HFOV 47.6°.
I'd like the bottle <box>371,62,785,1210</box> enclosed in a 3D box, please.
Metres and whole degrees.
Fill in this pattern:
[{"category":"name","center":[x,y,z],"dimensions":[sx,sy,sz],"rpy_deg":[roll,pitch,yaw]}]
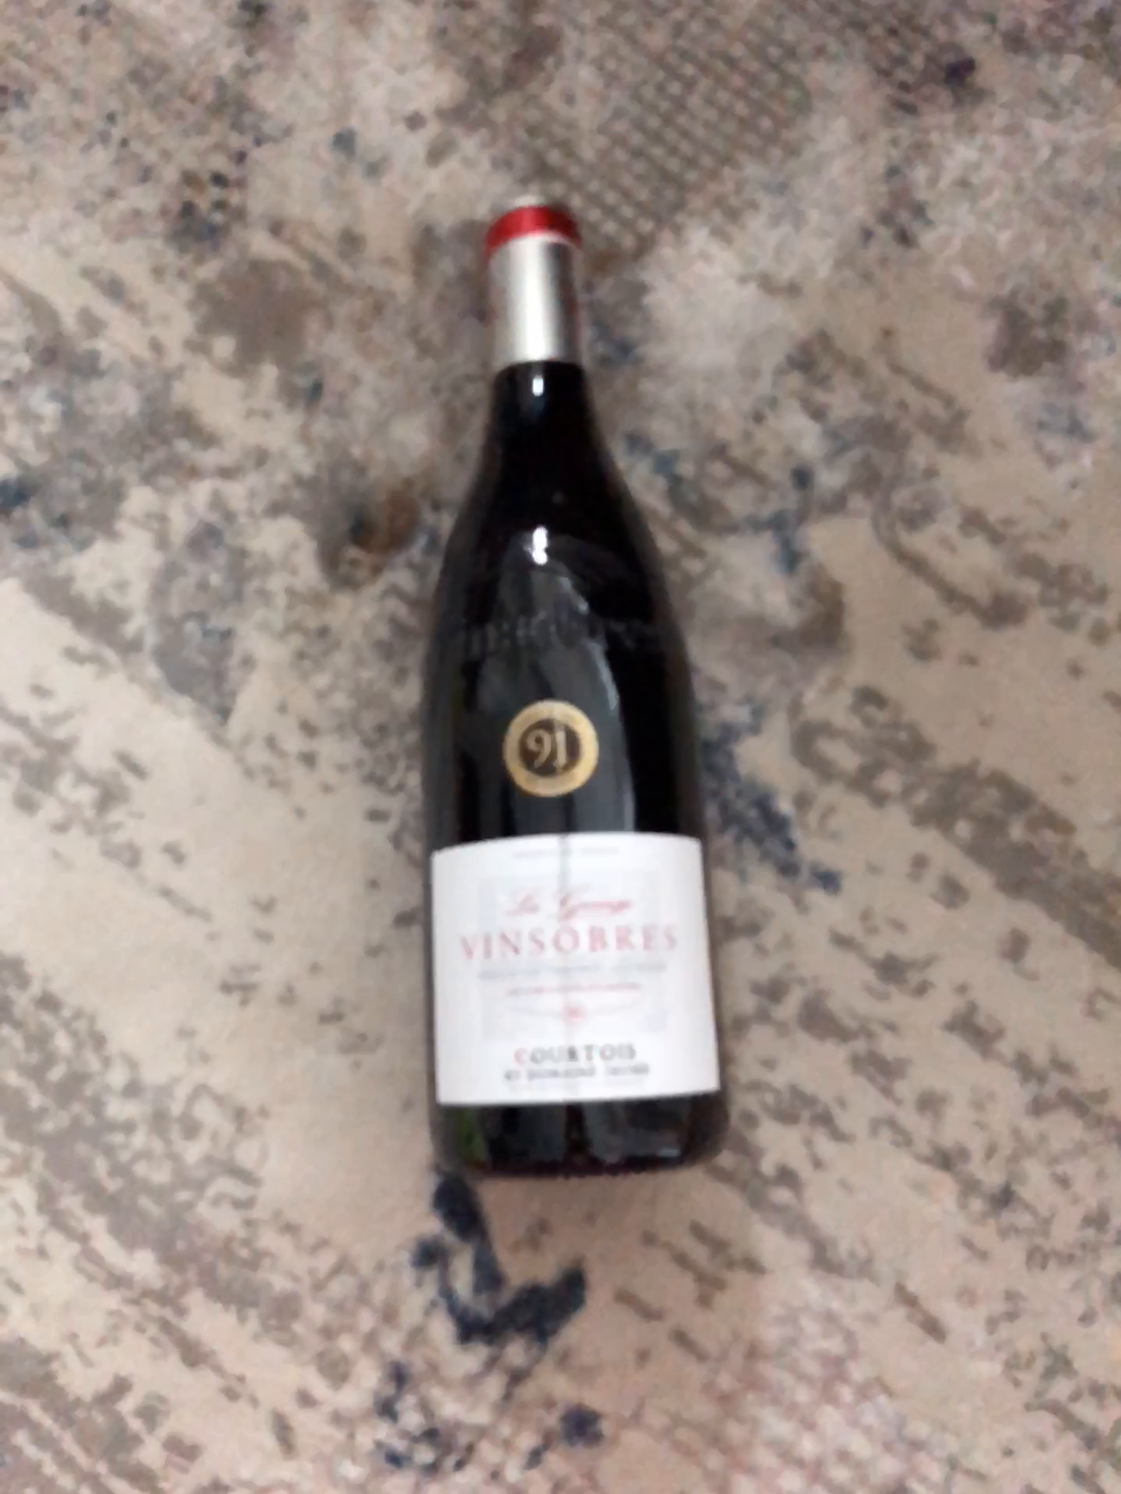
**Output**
[{"category":"bottle","center":[-0.002,-0.033,0.370],"dimensions":[0.090,0.100,0.300],"rpy_deg":[-2,78,-2]}]
